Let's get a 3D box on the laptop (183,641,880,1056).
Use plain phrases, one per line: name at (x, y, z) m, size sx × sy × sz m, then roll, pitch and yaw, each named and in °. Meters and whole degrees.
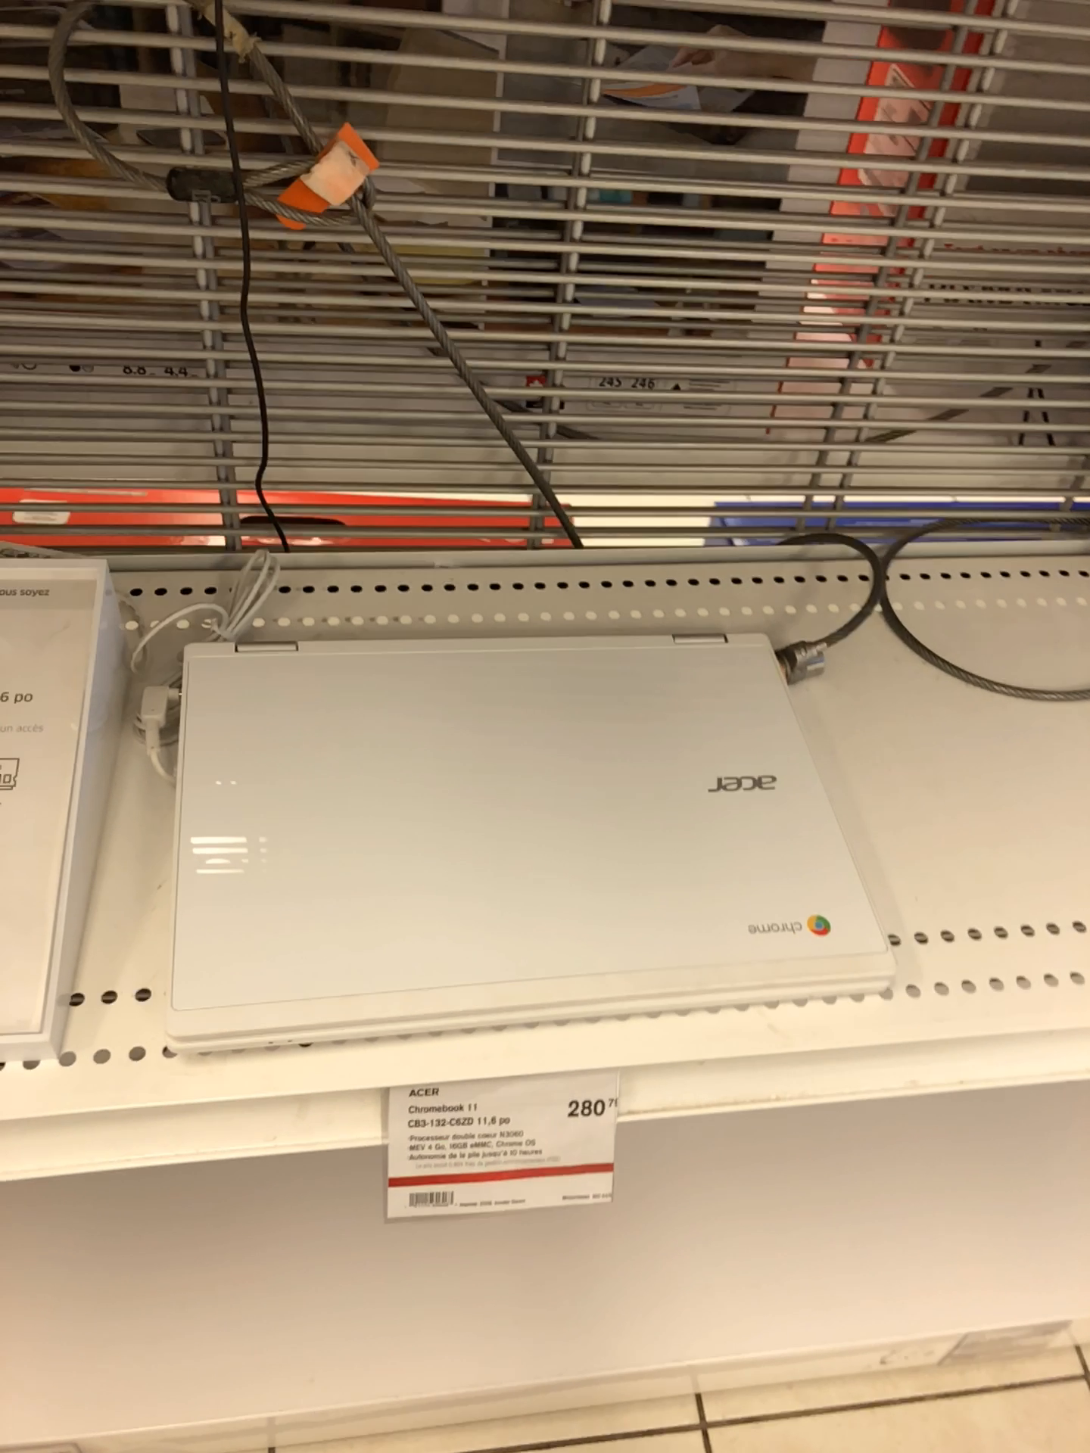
laptop at (-0.014, 0.044, 0.545) m, size 0.286 × 0.024 × 0.184 m, roll -2°, pitch 56°, yaw -10°
